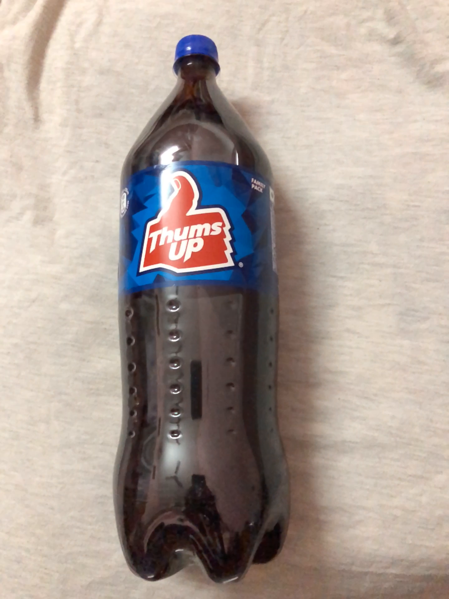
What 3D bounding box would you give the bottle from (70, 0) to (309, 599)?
[{"bbox_3d":[-0.017,-0.020,0.262,0.100,0.060,0.300,-4,79,9],"label":"bottle"}]
